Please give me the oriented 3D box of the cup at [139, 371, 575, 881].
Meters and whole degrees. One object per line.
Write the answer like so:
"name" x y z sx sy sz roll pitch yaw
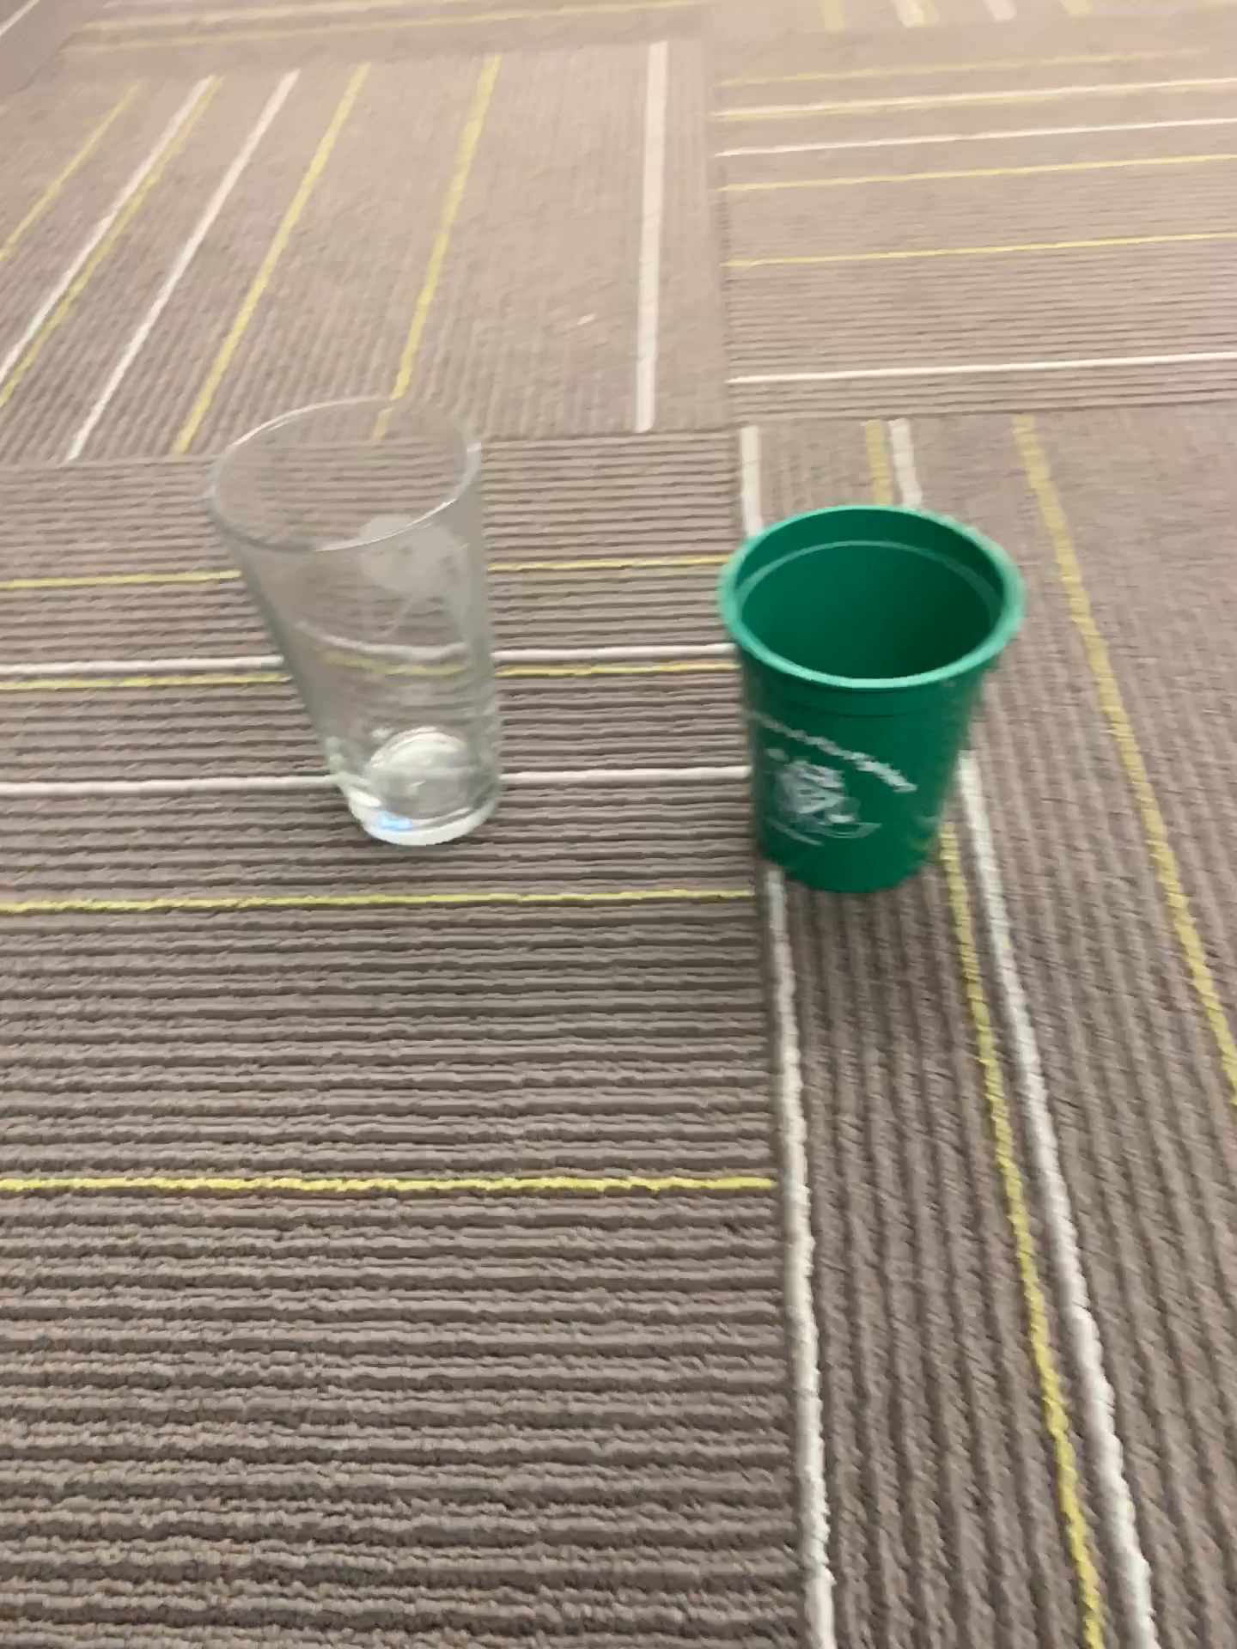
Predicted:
"cup" -0.082 -0.069 0.452 0.090 0.139 0.090 -3 47 3

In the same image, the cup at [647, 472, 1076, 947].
"cup" 0.083 -0.043 0.449 0.100 0.099 0.100 -3 47 3
